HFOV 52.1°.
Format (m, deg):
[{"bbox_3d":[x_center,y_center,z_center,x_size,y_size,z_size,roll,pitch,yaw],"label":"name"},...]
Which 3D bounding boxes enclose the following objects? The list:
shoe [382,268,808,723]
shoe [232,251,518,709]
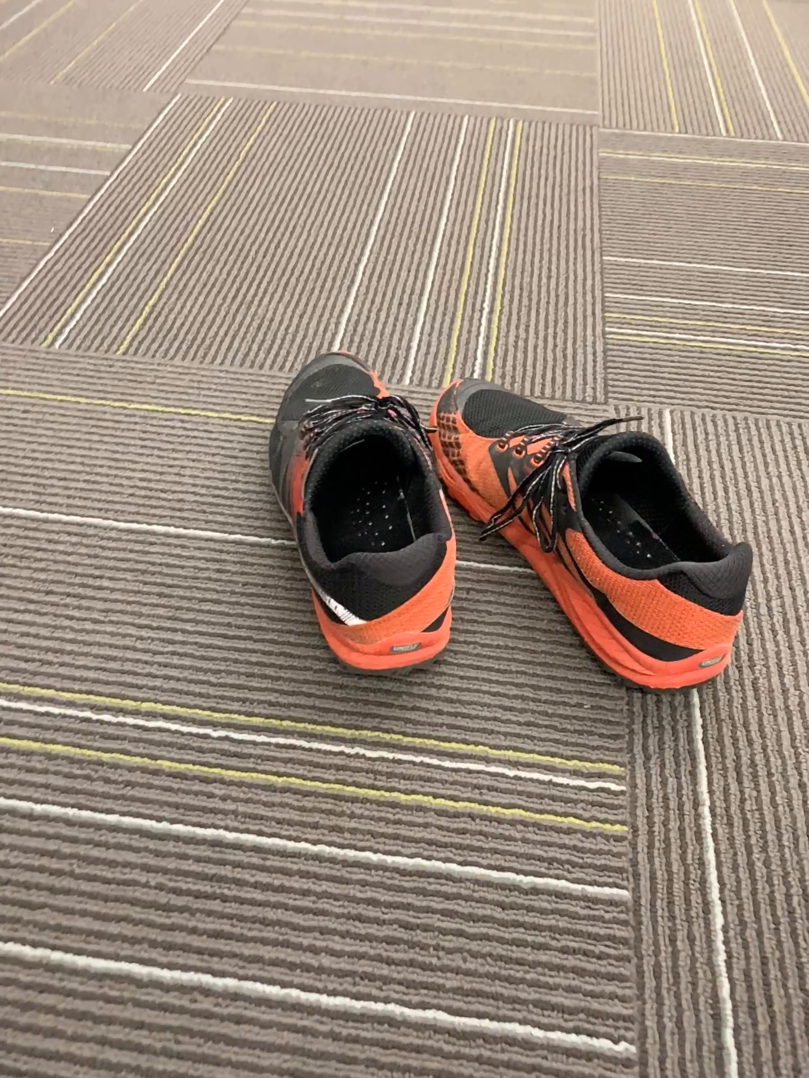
[{"bbox_3d":[0.119,-0.048,0.599,0.130,0.129,0.311,-24,53,-21],"label":"shoe"},{"bbox_3d":[-0.037,-0.061,0.601,0.130,0.129,0.321,-9,49,-9],"label":"shoe"}]
